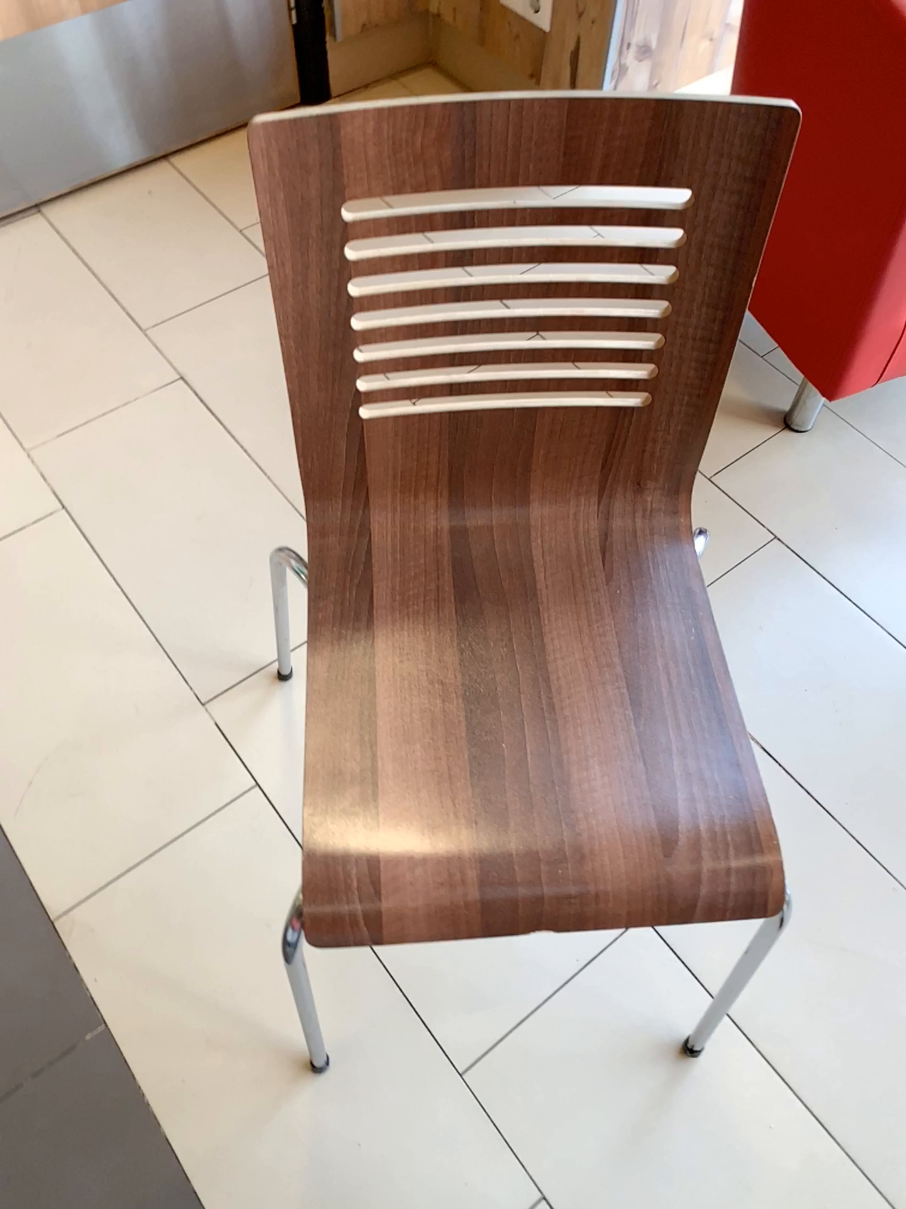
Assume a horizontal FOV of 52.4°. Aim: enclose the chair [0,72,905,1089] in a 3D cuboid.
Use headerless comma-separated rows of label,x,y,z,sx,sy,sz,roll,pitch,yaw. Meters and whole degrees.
chair,0.050,0.067,0.861,0.544,0.795,0.594,-1,57,-3
